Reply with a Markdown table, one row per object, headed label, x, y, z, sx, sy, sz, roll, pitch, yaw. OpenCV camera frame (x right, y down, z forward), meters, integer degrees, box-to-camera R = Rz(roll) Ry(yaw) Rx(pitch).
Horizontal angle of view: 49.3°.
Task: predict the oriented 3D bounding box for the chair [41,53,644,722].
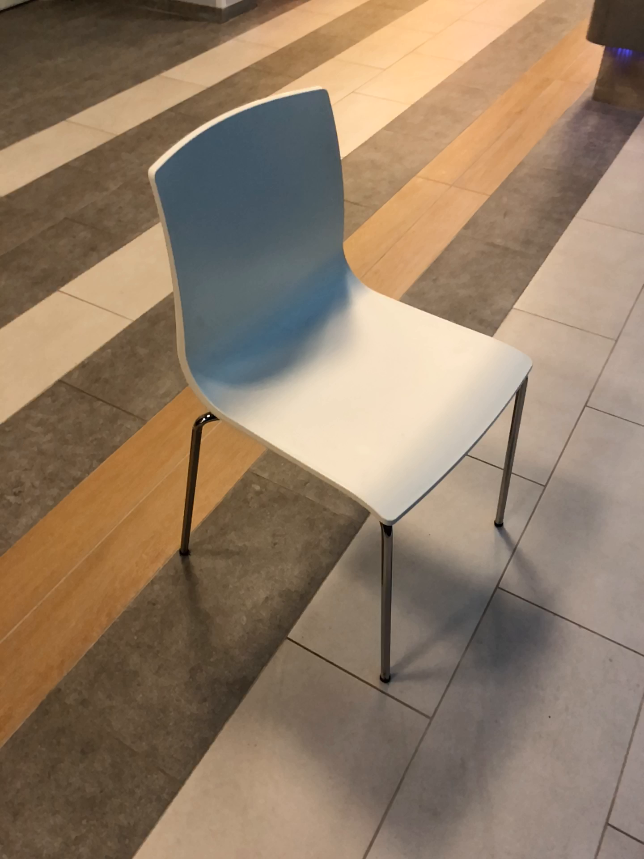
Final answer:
| label | x | y | z | sx | sy | sz | roll | pitch | yaw |
| --- | --- | --- | --- | --- | --- | --- | --- | --- | --- |
| chair | 0.060 | -0.072 | 1.166 | 0.551 | 0.776 | 0.582 | 26 | 51 | 24 |
